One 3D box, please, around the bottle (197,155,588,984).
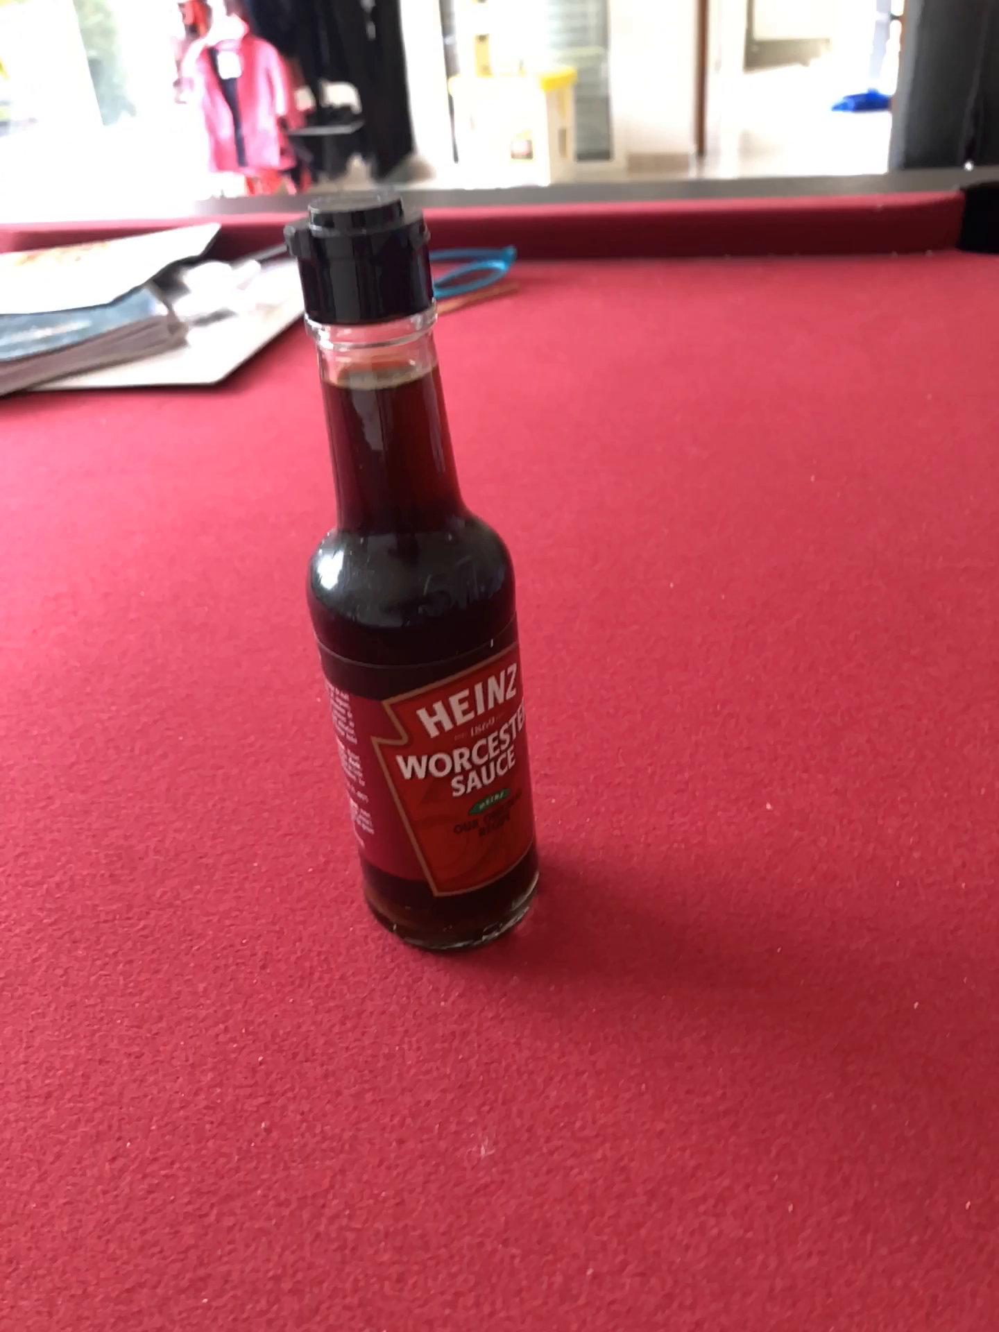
[{"bbox_3d":[-0.018,-0.016,0.258,0.050,0.179,0.050,-4,32,2],"label":"bottle"}]
